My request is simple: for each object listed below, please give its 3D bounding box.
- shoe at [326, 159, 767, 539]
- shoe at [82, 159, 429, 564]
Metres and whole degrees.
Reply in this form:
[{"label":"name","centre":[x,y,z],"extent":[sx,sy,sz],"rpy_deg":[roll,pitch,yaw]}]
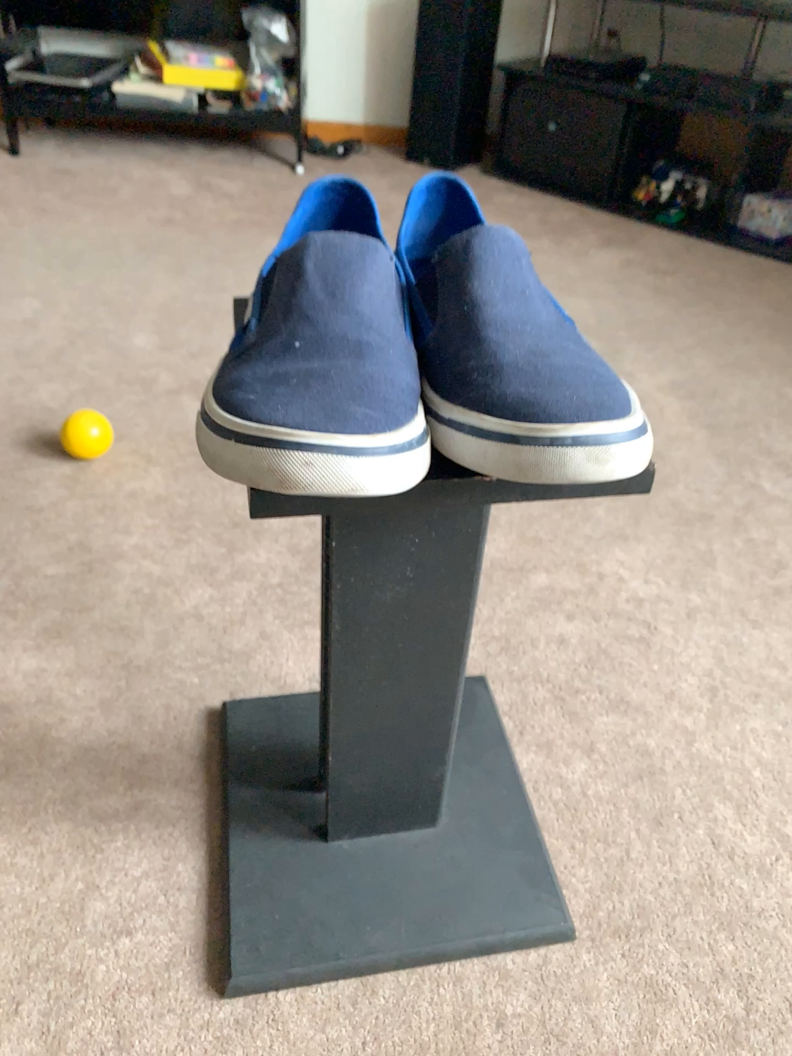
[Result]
[{"label":"shoe","centre":[0.049,-0.122,0.451],"extent":[0.120,0.079,0.302],"rpy_deg":[-6,38,-14]},{"label":"shoe","centre":[-0.049,-0.111,0.430],"extent":[0.120,0.079,0.303],"rpy_deg":[4,36,-2]}]
